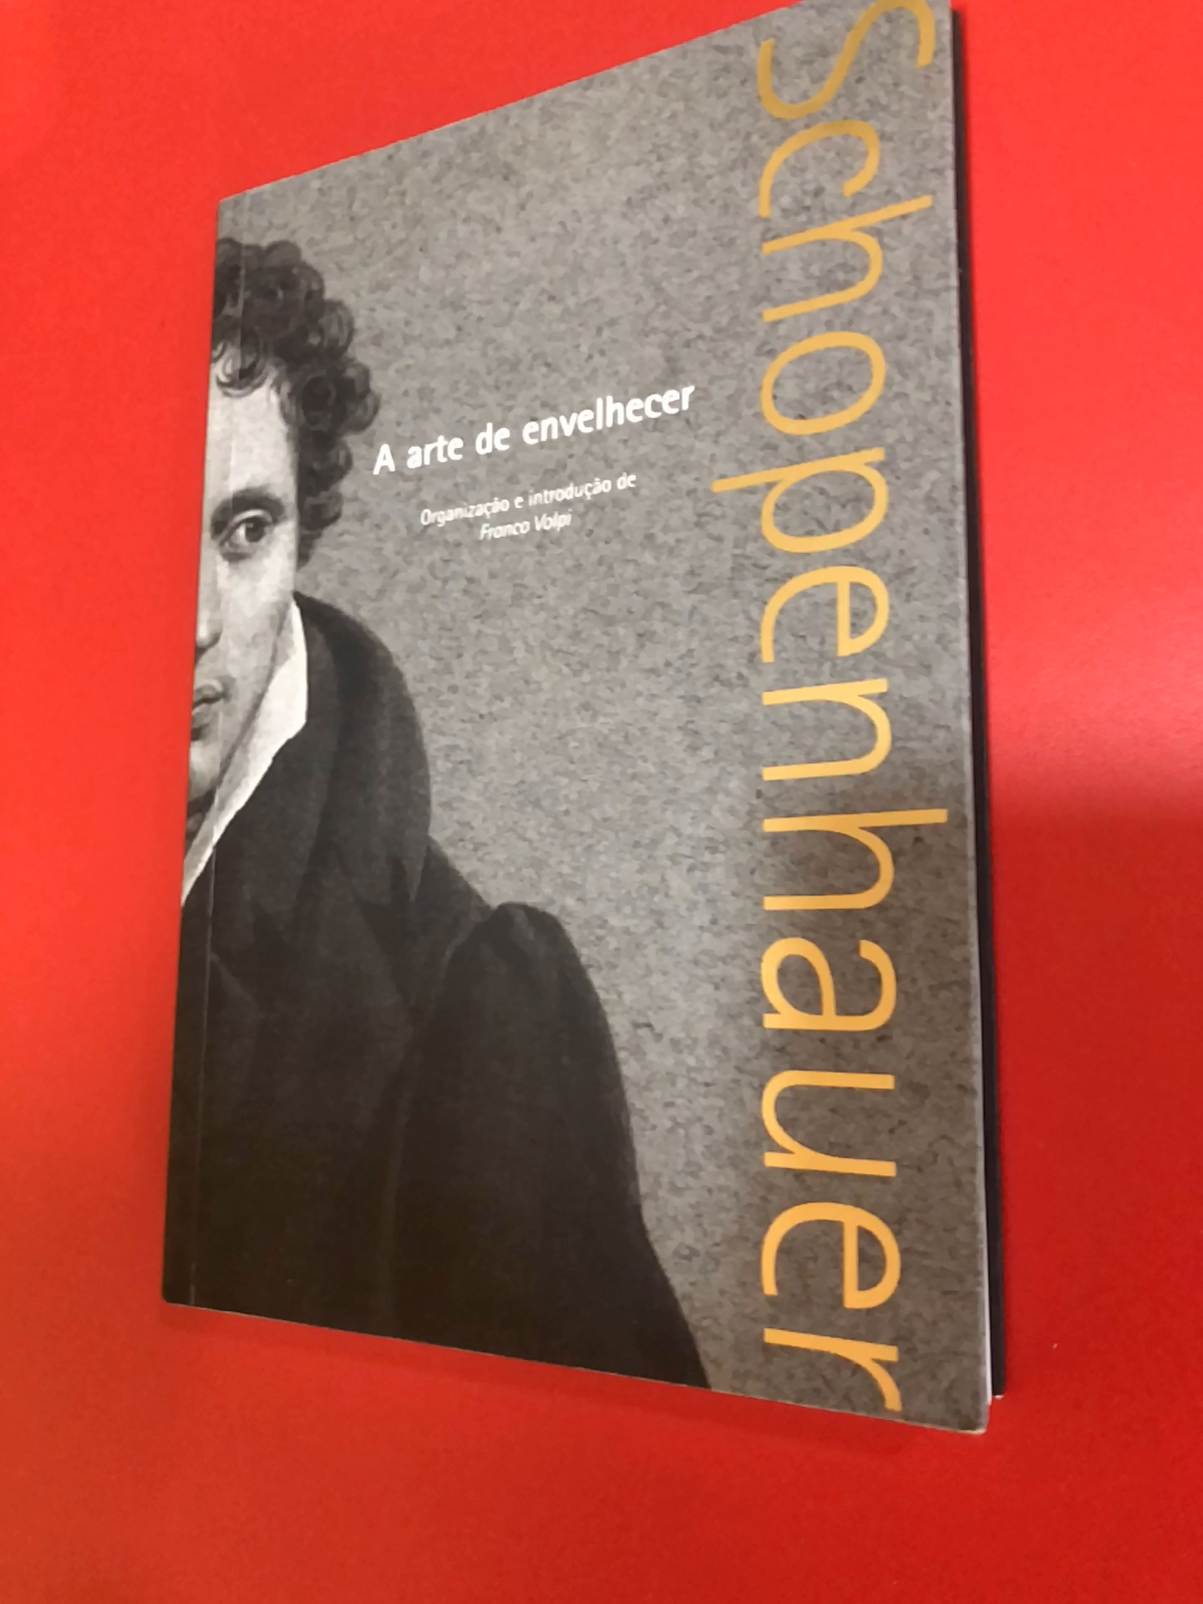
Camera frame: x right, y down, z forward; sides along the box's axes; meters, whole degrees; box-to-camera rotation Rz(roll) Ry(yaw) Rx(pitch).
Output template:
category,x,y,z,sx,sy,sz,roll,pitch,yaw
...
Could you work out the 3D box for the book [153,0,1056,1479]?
category,x,y,z,sx,sy,sz,roll,pitch,yaw
book,-0.007,-0.016,0.205,0.137,0.017,0.196,-3,82,28
